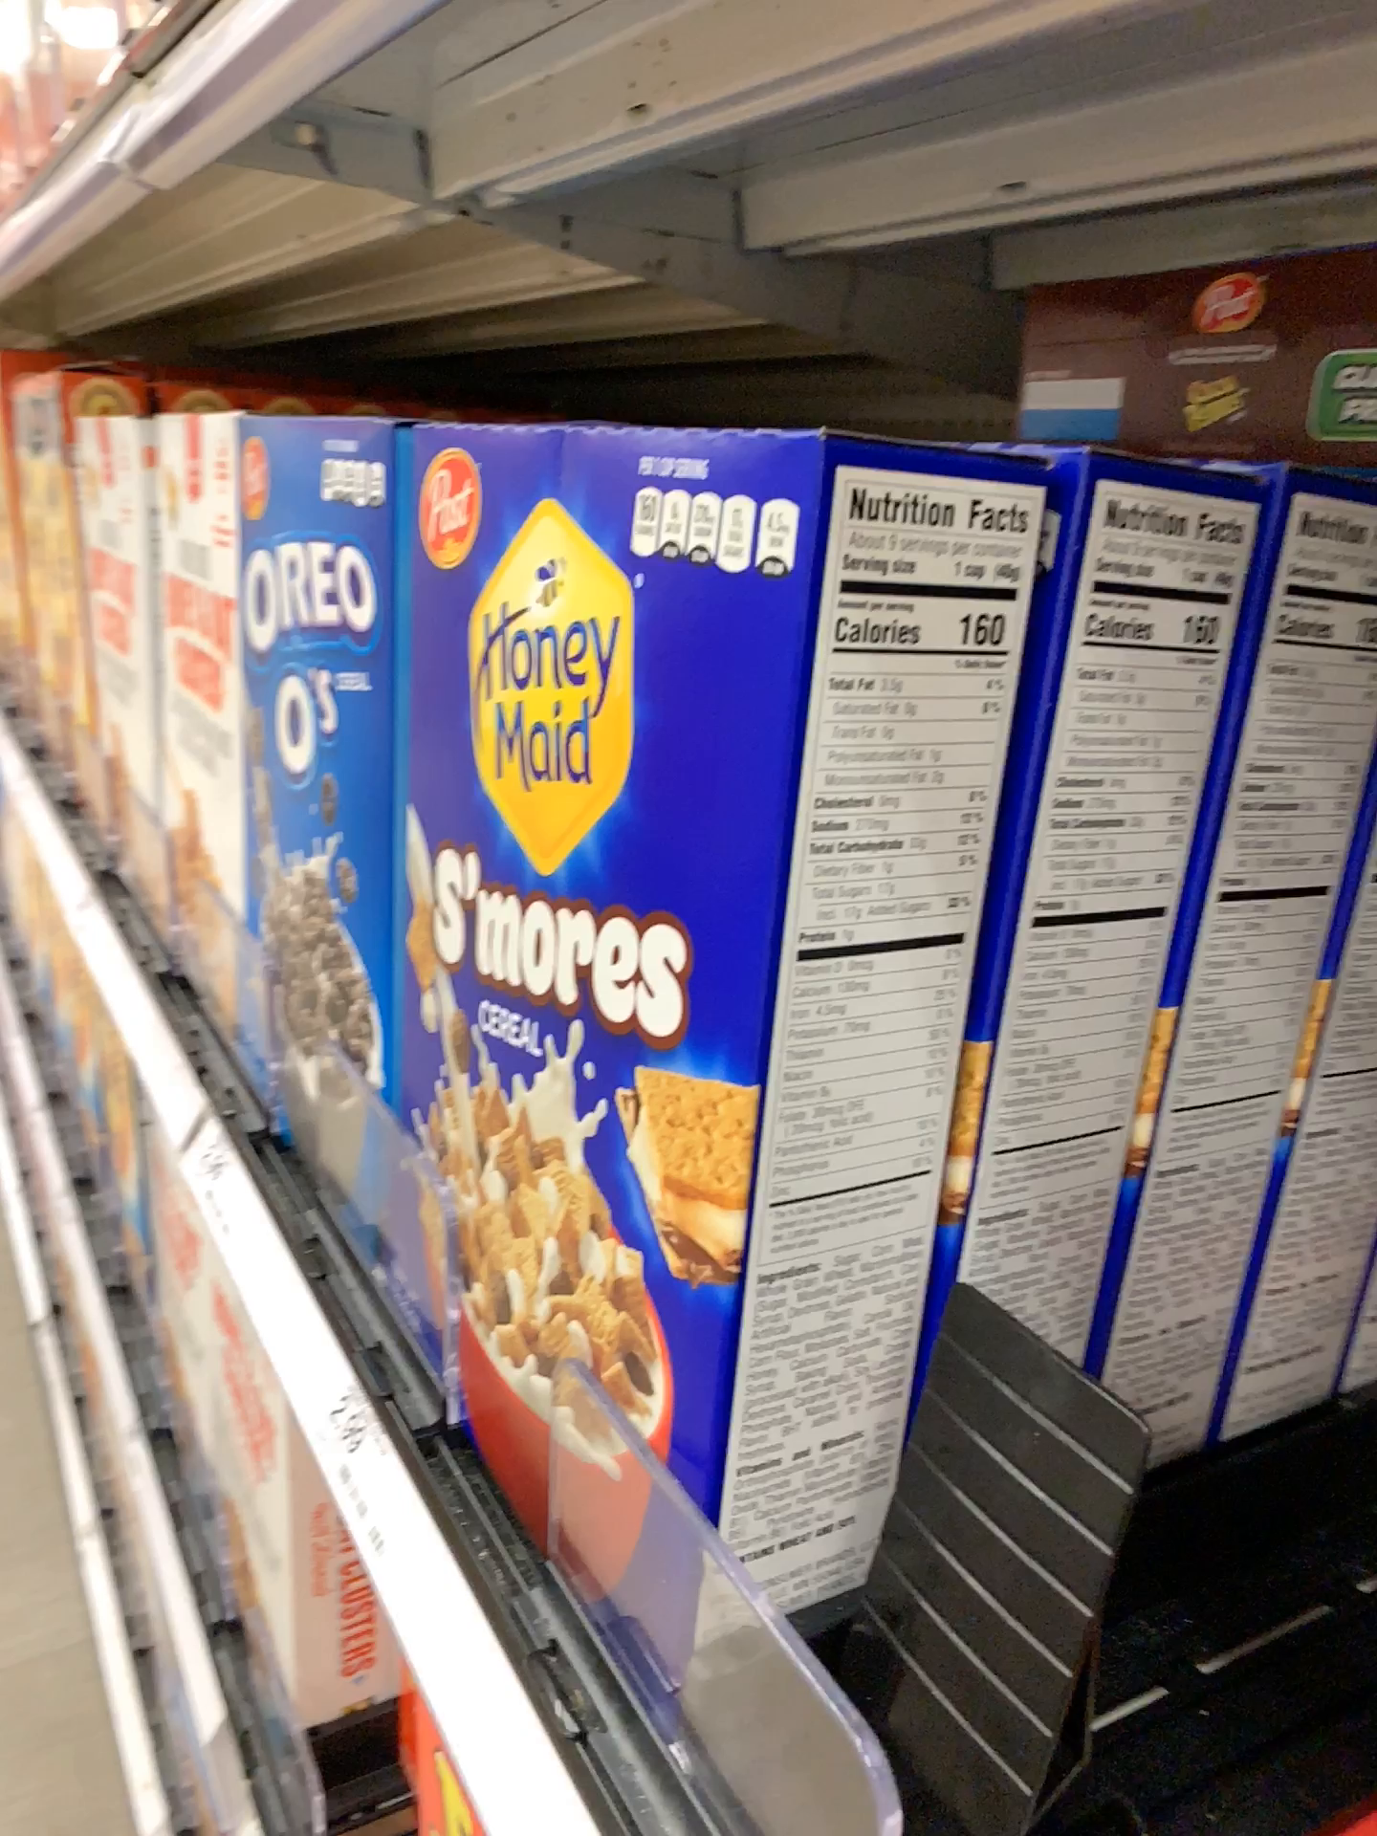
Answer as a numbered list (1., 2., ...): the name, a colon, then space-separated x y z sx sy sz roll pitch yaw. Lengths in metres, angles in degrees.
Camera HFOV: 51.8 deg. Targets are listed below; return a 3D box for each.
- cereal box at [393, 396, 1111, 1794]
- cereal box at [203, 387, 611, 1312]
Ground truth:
1. cereal box: -0.010 0.020 0.346 0.060 0.269 0.191 -4 18 -29
2. cereal box: -0.110 -0.036 0.492 0.070 0.269 0.181 -5 19 -31
